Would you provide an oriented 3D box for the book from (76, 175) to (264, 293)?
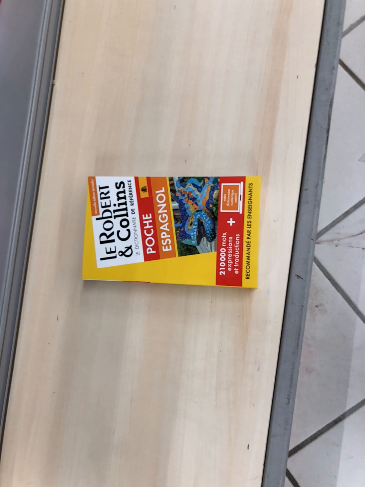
[{"bbox_3d":[-0.011,-0.010,0.411,0.180,0.040,0.110,2,84,10],"label":"book"}]
